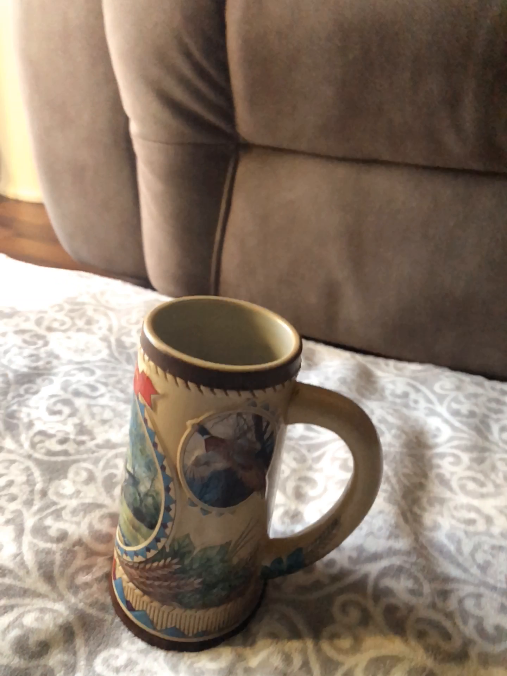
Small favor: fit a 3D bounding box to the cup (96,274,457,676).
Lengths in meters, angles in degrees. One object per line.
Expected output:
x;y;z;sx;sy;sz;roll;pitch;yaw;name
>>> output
0.003;0.083;0.324;0.144;0.188;0.099;13;28;2;cup
